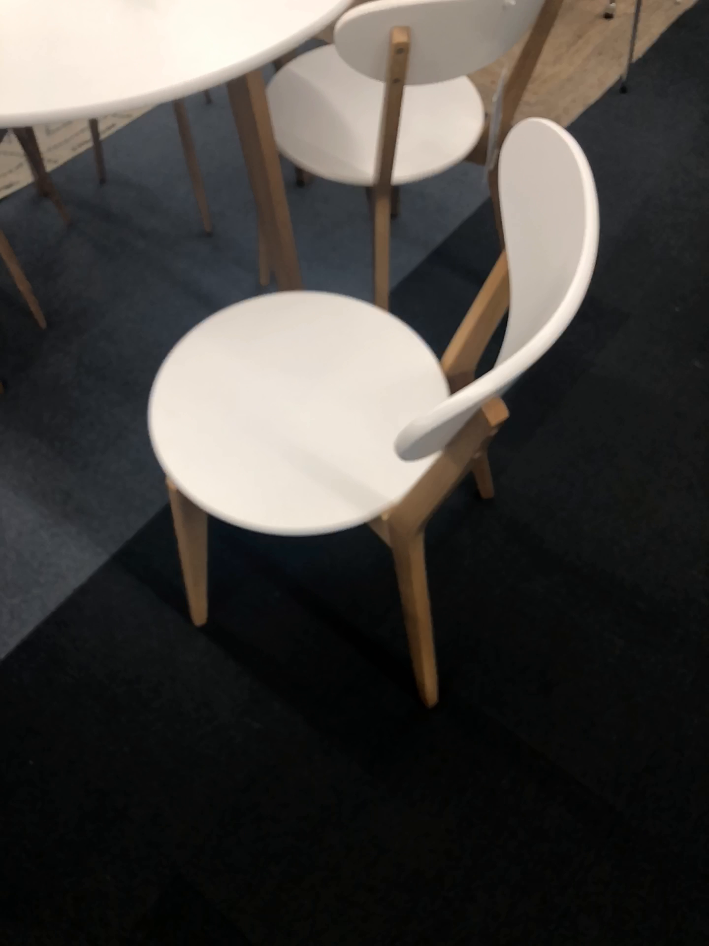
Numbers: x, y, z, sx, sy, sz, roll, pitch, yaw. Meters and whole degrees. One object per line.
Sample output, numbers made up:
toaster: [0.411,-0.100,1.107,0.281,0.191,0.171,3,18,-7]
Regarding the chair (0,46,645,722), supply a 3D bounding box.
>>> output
chair: [-0.029,-0.083,1.019,0.560,0.599,0.481,16,59,11]
